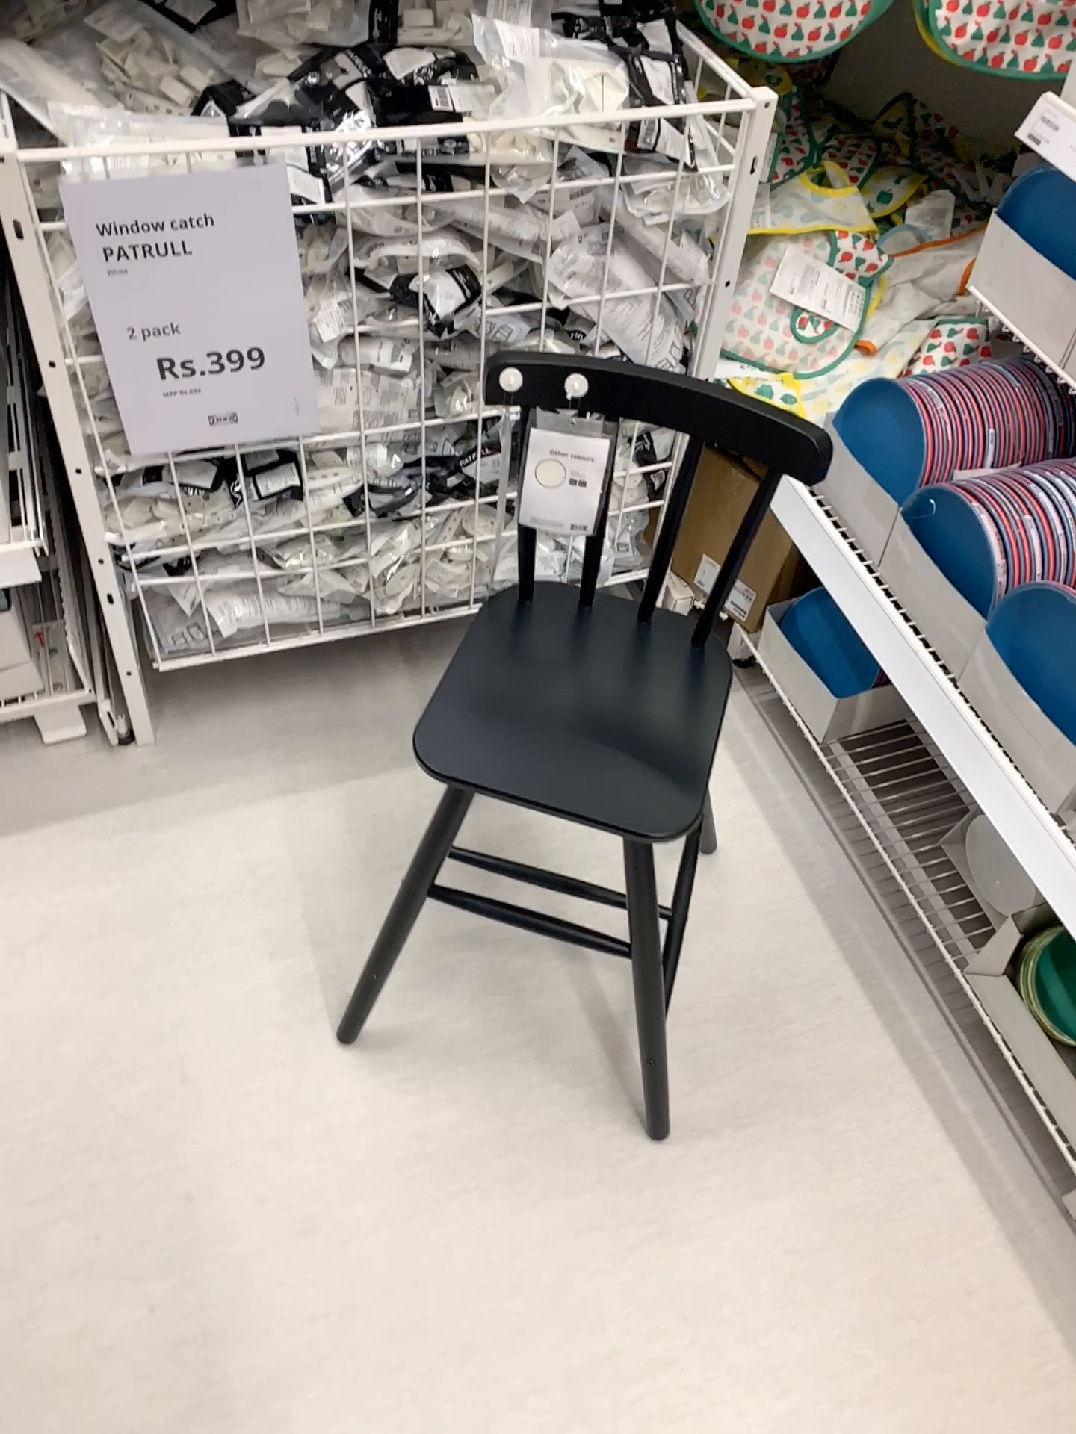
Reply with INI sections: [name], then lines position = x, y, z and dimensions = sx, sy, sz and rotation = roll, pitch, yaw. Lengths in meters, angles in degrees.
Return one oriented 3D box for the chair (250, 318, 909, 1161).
[chair]
position = 0.043, 0.059, 1.141
dimensions = 0.420, 0.688, 0.461
rotation = 16, 51, 8
